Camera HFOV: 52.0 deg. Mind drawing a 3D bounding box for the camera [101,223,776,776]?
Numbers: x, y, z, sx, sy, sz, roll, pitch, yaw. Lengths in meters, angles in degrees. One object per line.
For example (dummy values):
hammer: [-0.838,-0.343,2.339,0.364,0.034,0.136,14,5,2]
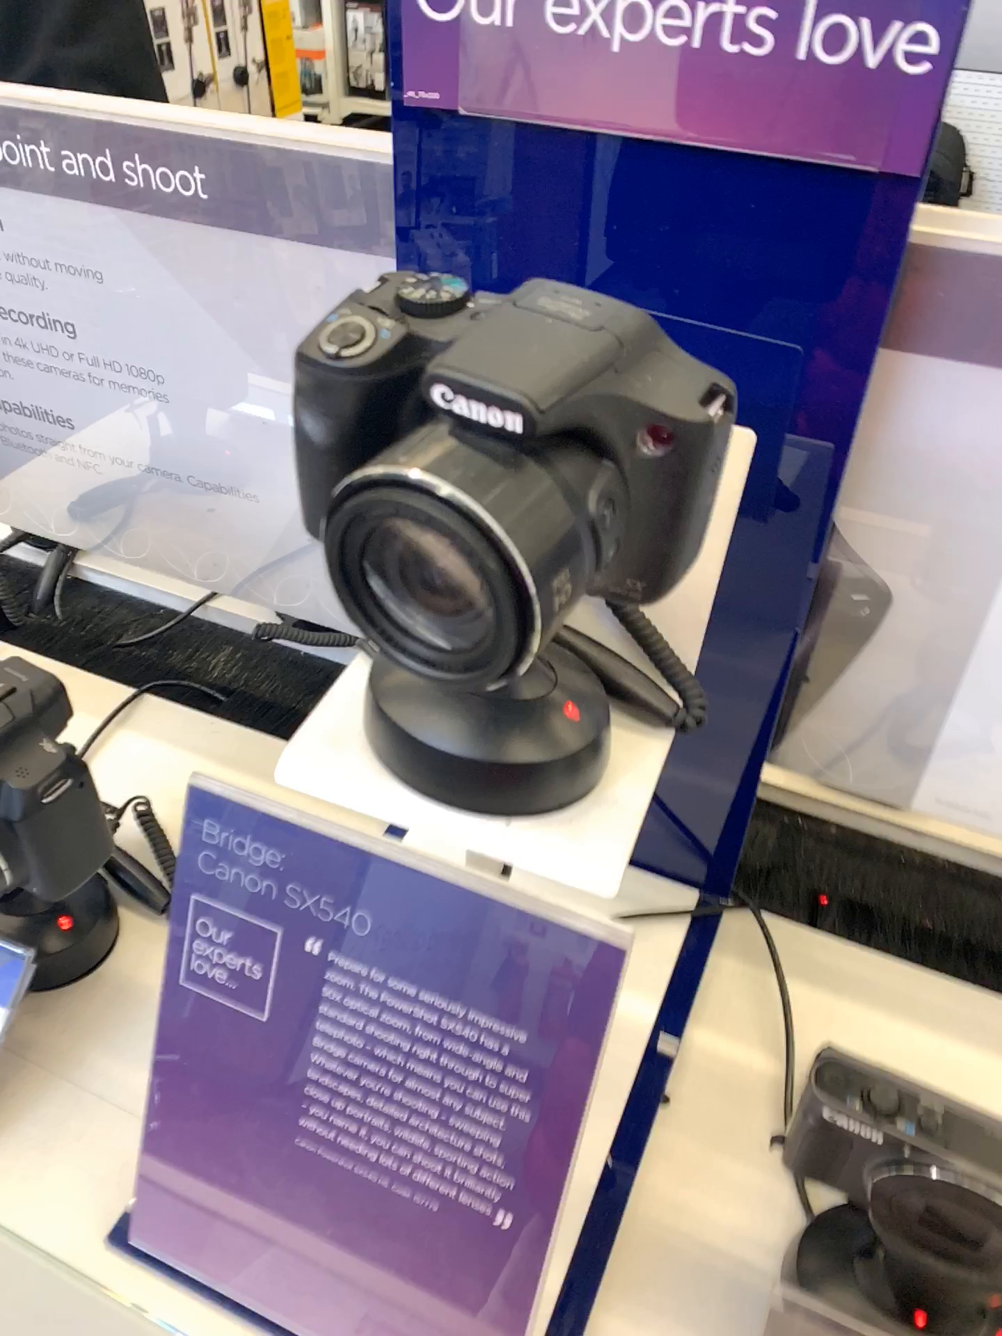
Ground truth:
camera: [-0.011,-0.054,0.267,0.120,0.069,0.111,22,45,22]
